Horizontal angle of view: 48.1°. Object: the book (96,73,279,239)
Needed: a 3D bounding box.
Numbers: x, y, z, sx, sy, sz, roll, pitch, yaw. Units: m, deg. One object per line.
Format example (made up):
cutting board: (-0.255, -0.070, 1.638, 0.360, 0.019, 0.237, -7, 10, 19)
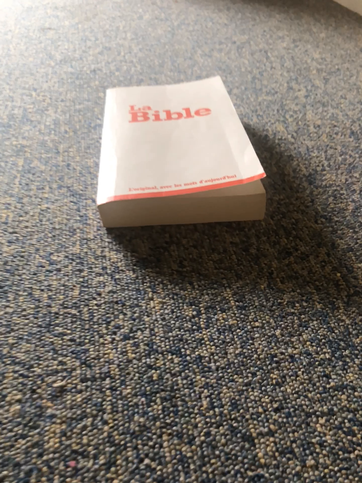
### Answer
book: (-0.006, -0.095, 0.383, 0.133, 0.042, 0.212, -5, 43, -4)
